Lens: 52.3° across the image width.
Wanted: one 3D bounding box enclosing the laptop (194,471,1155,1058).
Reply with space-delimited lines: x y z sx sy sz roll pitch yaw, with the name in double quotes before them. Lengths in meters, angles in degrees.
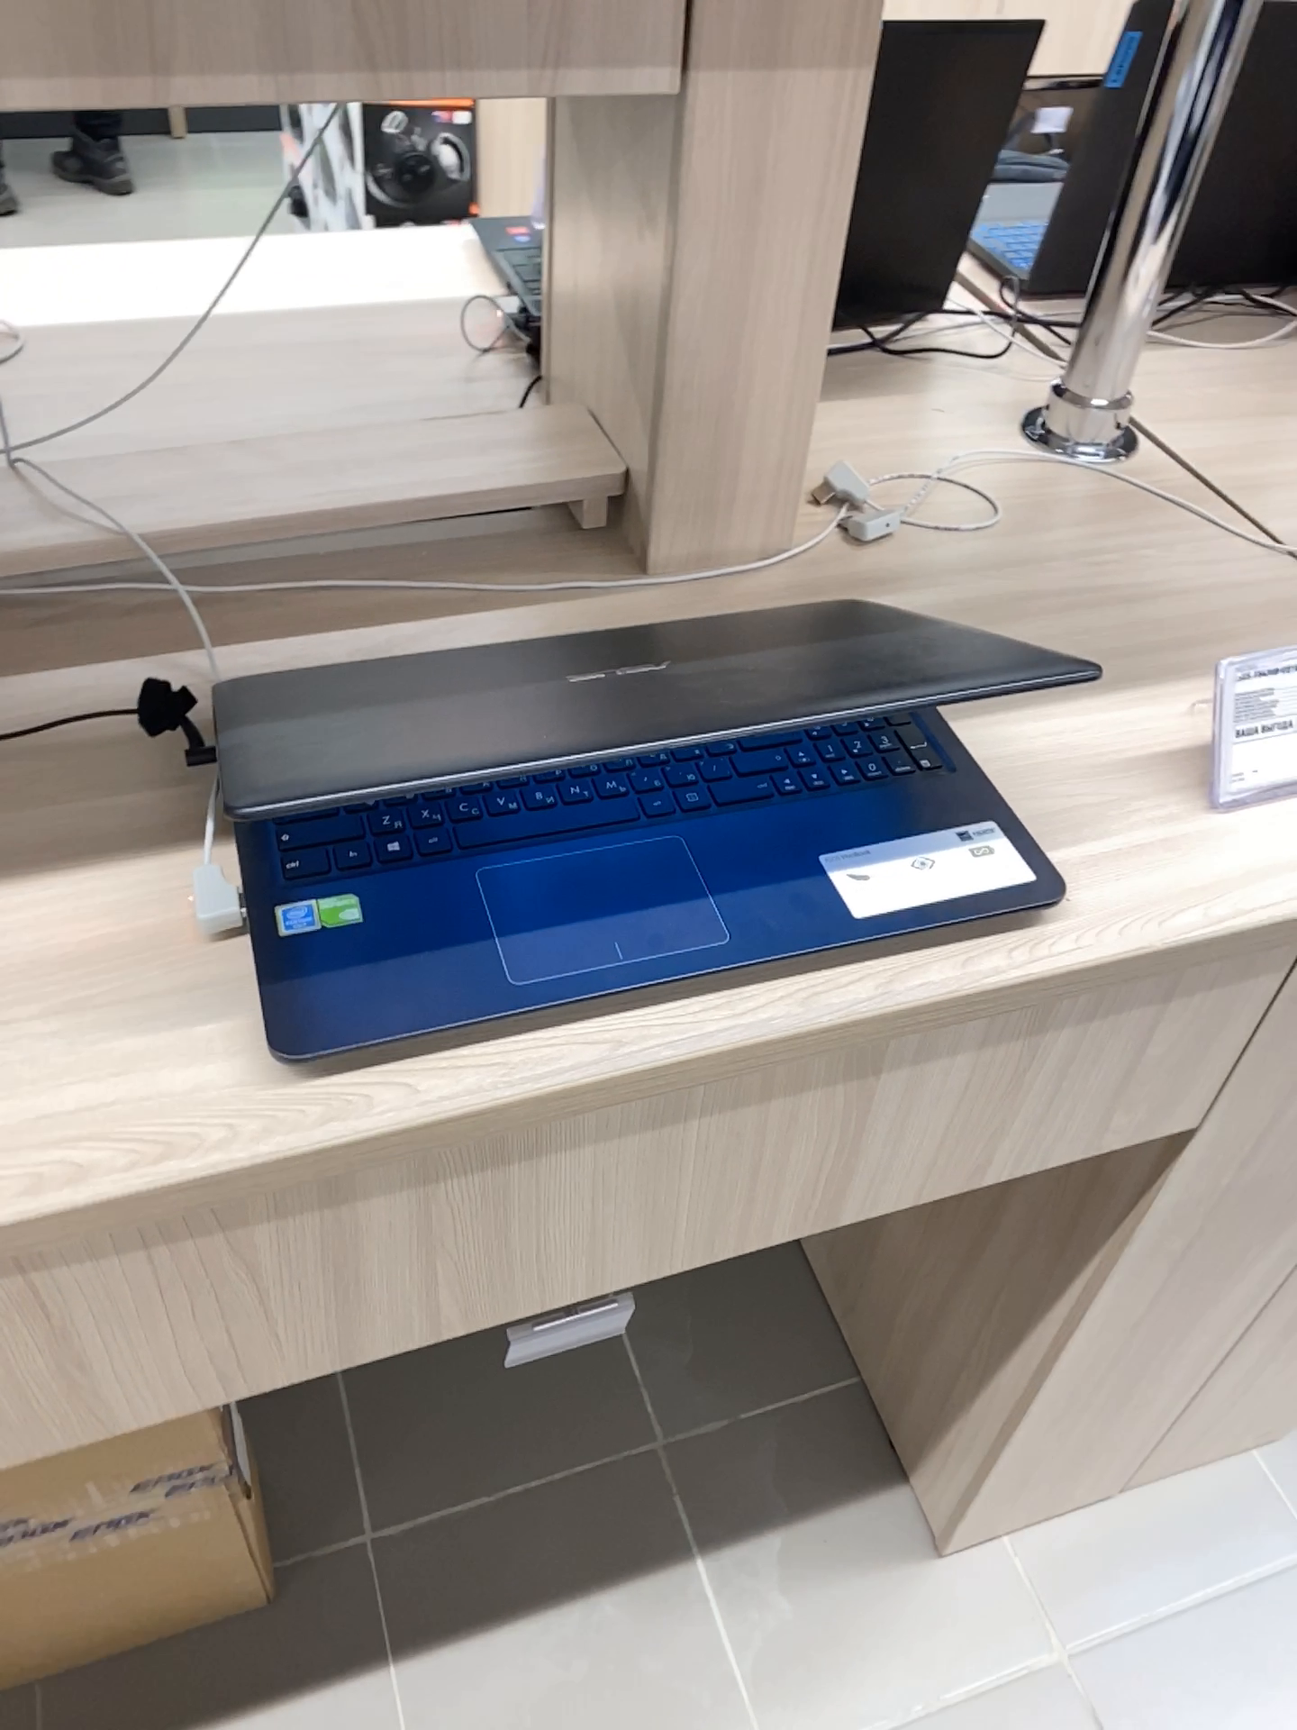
"laptop" 0.000 -0.070 0.636 0.386 0.098 0.236 -10 47 -16
